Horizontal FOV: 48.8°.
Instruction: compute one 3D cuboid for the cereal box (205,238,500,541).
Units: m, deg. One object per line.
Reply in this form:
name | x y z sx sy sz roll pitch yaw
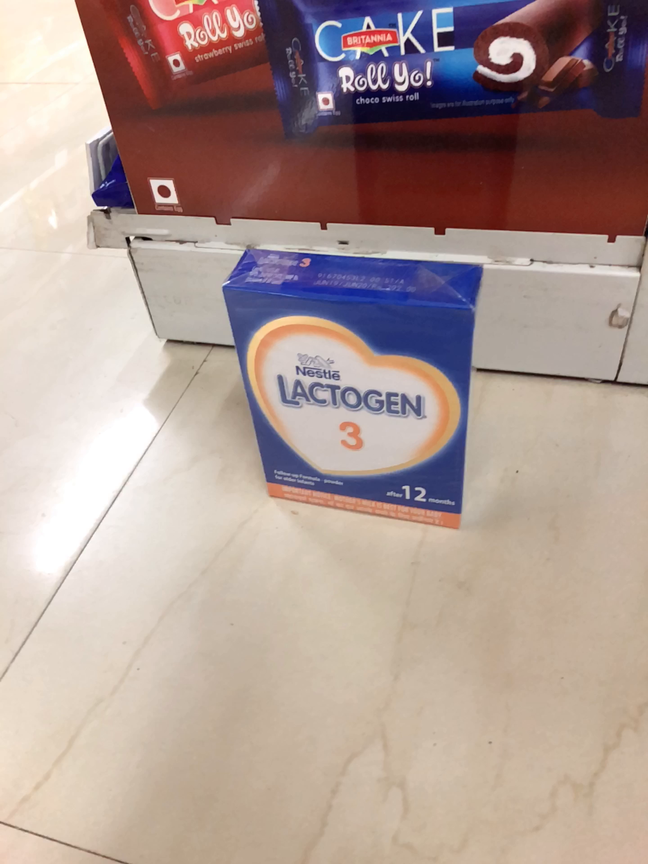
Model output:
cereal box | 0.026 -0.024 0.477 0.160 0.189 0.060 9 46 17
